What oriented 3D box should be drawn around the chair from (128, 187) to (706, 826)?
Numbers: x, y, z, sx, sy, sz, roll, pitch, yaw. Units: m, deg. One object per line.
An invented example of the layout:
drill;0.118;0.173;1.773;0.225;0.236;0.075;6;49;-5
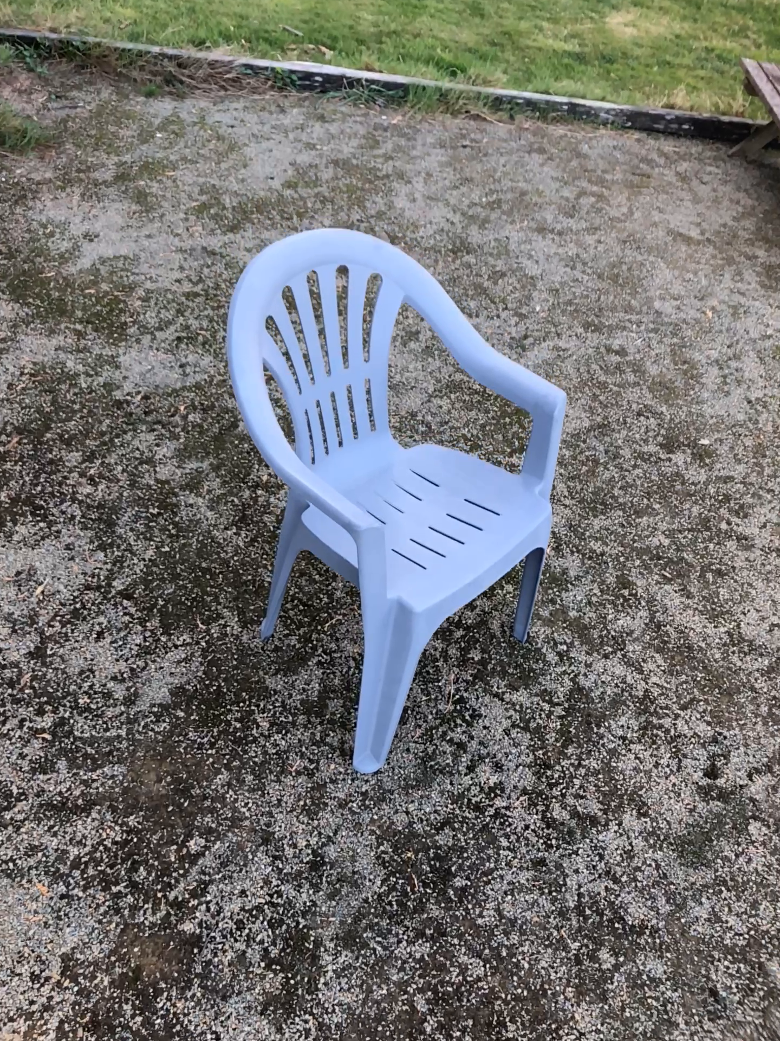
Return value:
chair;0.011;-0.048;1.556;0.633;0.775;0.621;-30;55;-34
